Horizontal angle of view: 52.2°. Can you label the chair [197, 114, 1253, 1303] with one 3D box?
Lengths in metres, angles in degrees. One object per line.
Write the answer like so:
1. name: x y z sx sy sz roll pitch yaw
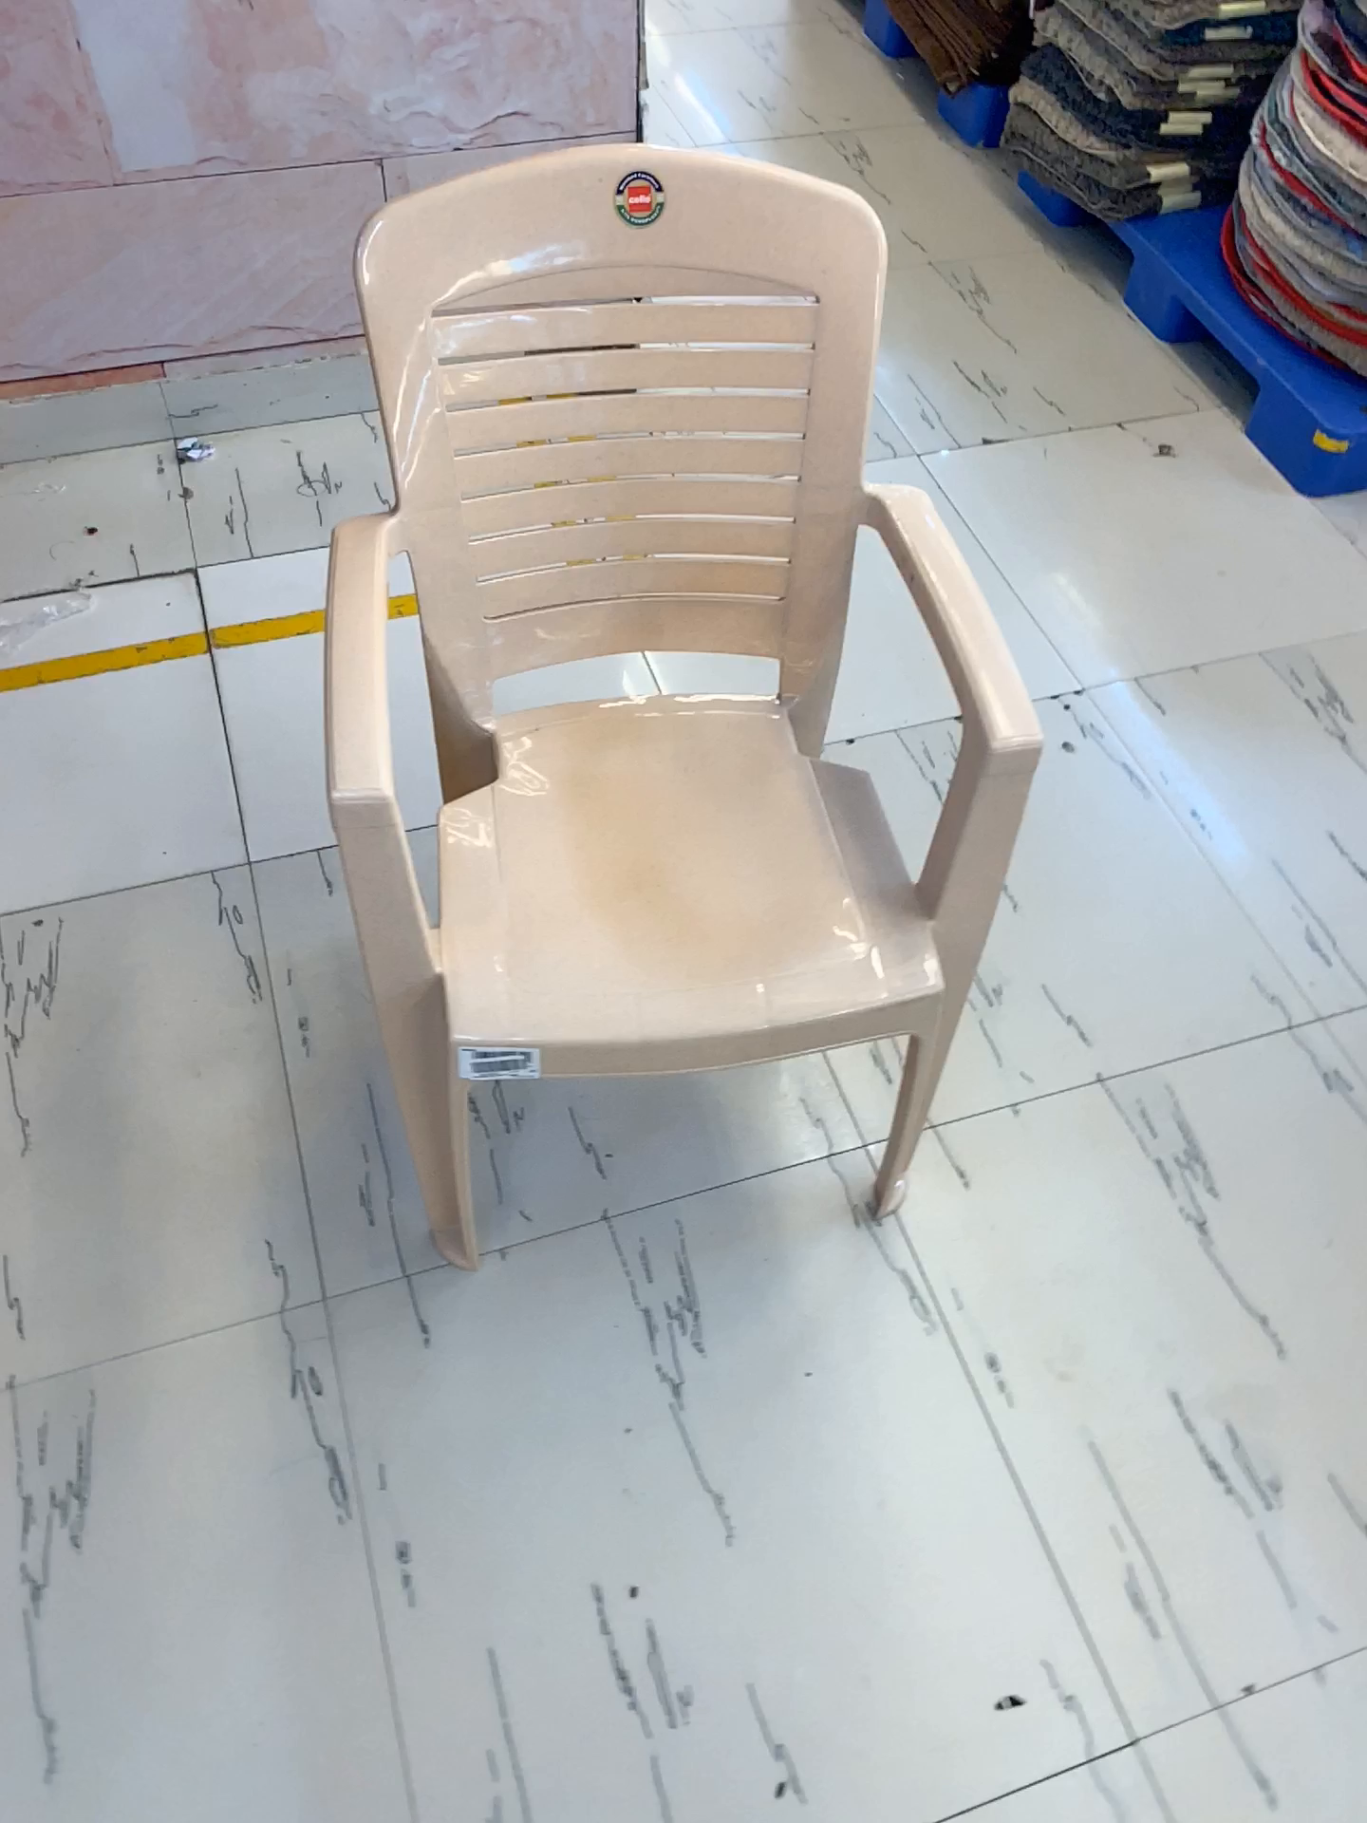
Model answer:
1. chair: -0.031 -0.146 1.232 0.570 0.775 0.624 -7 53 -8
